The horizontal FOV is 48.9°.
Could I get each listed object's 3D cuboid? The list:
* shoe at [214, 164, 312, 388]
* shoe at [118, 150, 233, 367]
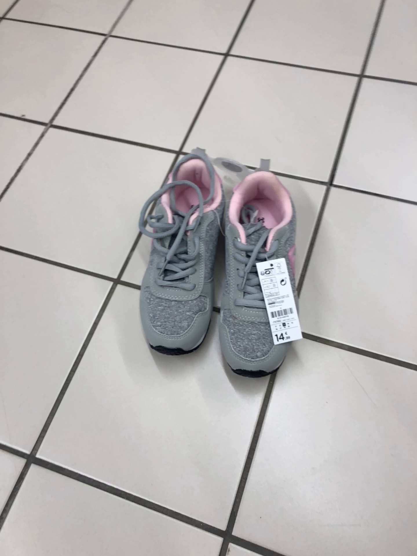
[{"bbox_3d":[0.055,-0.006,0.473,0.082,0.083,0.215,1,62,6],"label":"shoe"},{"bbox_3d":[-0.025,-0.025,0.490,0.082,0.083,0.215,4,63,7],"label":"shoe"}]
